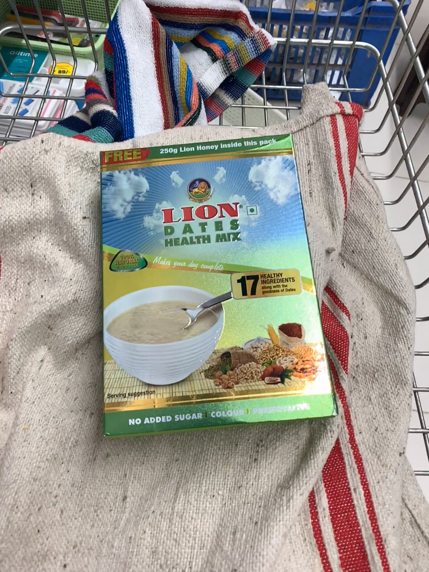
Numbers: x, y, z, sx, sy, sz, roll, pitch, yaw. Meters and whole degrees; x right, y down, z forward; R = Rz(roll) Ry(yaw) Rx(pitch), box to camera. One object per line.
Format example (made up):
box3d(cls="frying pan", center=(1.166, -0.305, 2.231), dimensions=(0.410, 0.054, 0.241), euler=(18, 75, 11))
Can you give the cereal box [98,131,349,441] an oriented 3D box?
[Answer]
box3d(cls="cereal box", center=(-0.001, 0.003, 0.318), dimensions=(0.140, 0.090, 0.190), euler=(-5, 72, 1))
